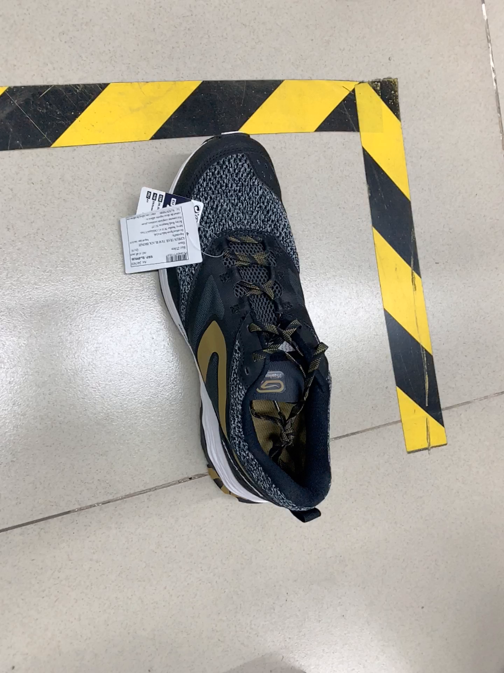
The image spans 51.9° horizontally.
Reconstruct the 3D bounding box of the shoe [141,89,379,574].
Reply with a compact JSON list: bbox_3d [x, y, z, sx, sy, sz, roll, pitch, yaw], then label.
[{"bbox_3d":[0.001,-0.007,0.383,0.110,0.100,0.300,-8,93,-19],"label":"shoe"}]
